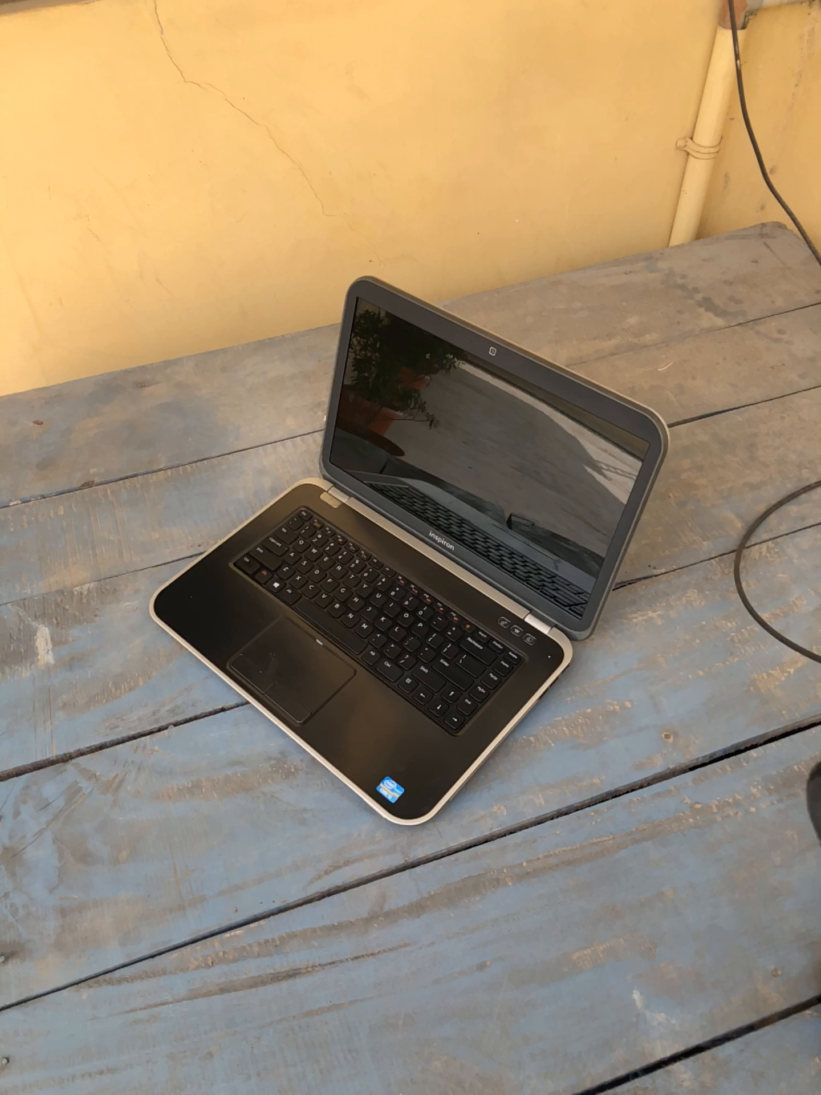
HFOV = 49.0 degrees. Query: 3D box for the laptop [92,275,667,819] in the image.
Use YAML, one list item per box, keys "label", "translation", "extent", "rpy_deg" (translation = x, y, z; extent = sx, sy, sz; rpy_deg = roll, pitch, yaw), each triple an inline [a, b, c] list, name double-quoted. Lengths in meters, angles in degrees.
- label: "laptop"
  translation: [-0.025, -0.026, 0.830]
  extent: [0.353, 0.209, 0.333]
  rpy_deg: [33, 58, 29]
